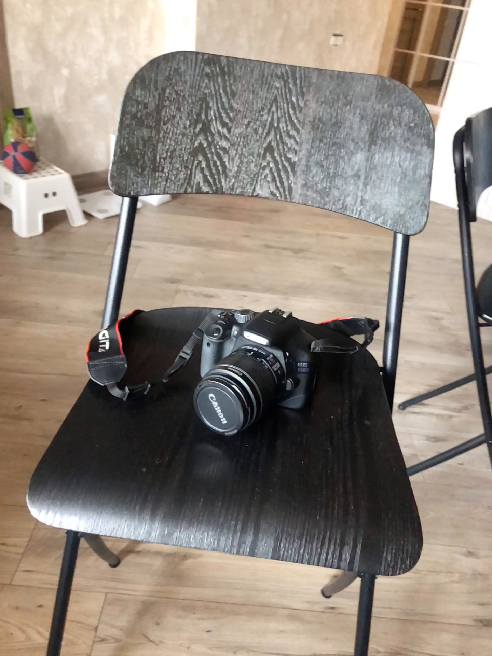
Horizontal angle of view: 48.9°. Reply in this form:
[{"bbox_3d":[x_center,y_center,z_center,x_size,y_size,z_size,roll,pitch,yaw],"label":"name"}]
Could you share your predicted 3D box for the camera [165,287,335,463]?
[{"bbox_3d":[0.005,0.042,0.578,0.120,0.092,0.141,21,35,22],"label":"camera"}]
